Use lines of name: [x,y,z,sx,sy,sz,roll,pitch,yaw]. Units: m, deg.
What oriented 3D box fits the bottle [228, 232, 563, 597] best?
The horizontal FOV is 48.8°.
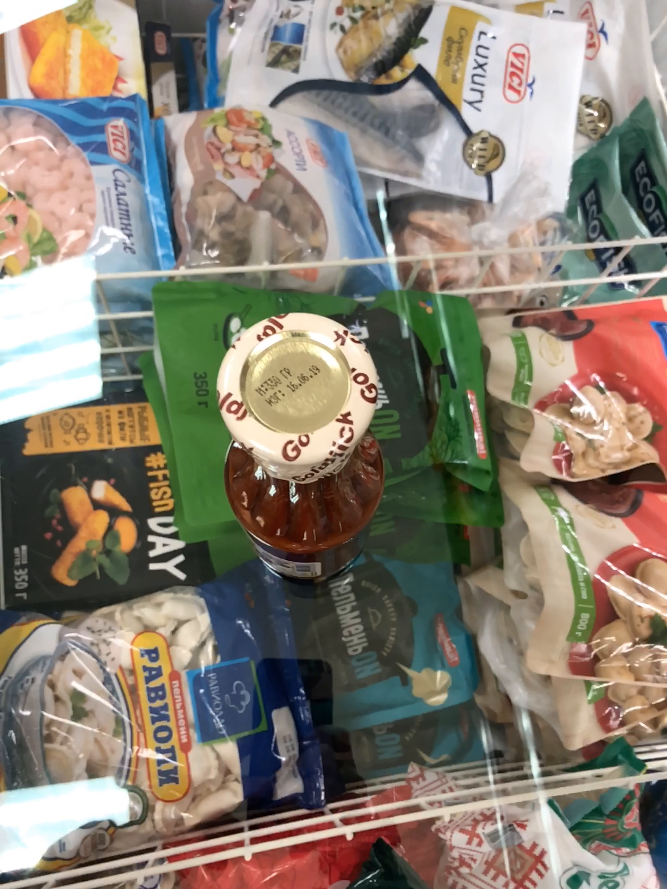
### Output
bottle: [0.010,0.006,0.289,0.080,0.180,0.080,1,73,-3]
